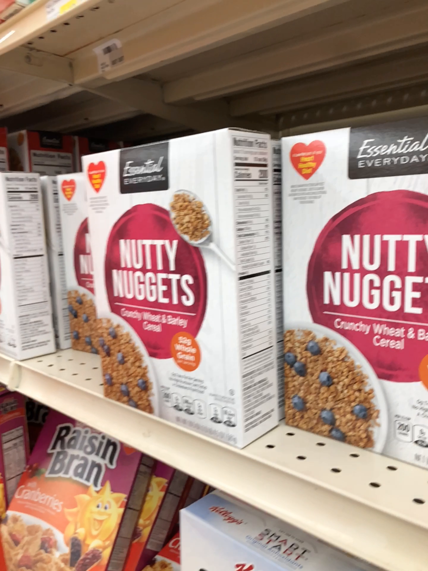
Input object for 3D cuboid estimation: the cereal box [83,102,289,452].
[{"bbox_3d":[-0.028,-0.009,0.386,0.170,0.230,0.050,5,10,42],"label":"cereal box"}]
